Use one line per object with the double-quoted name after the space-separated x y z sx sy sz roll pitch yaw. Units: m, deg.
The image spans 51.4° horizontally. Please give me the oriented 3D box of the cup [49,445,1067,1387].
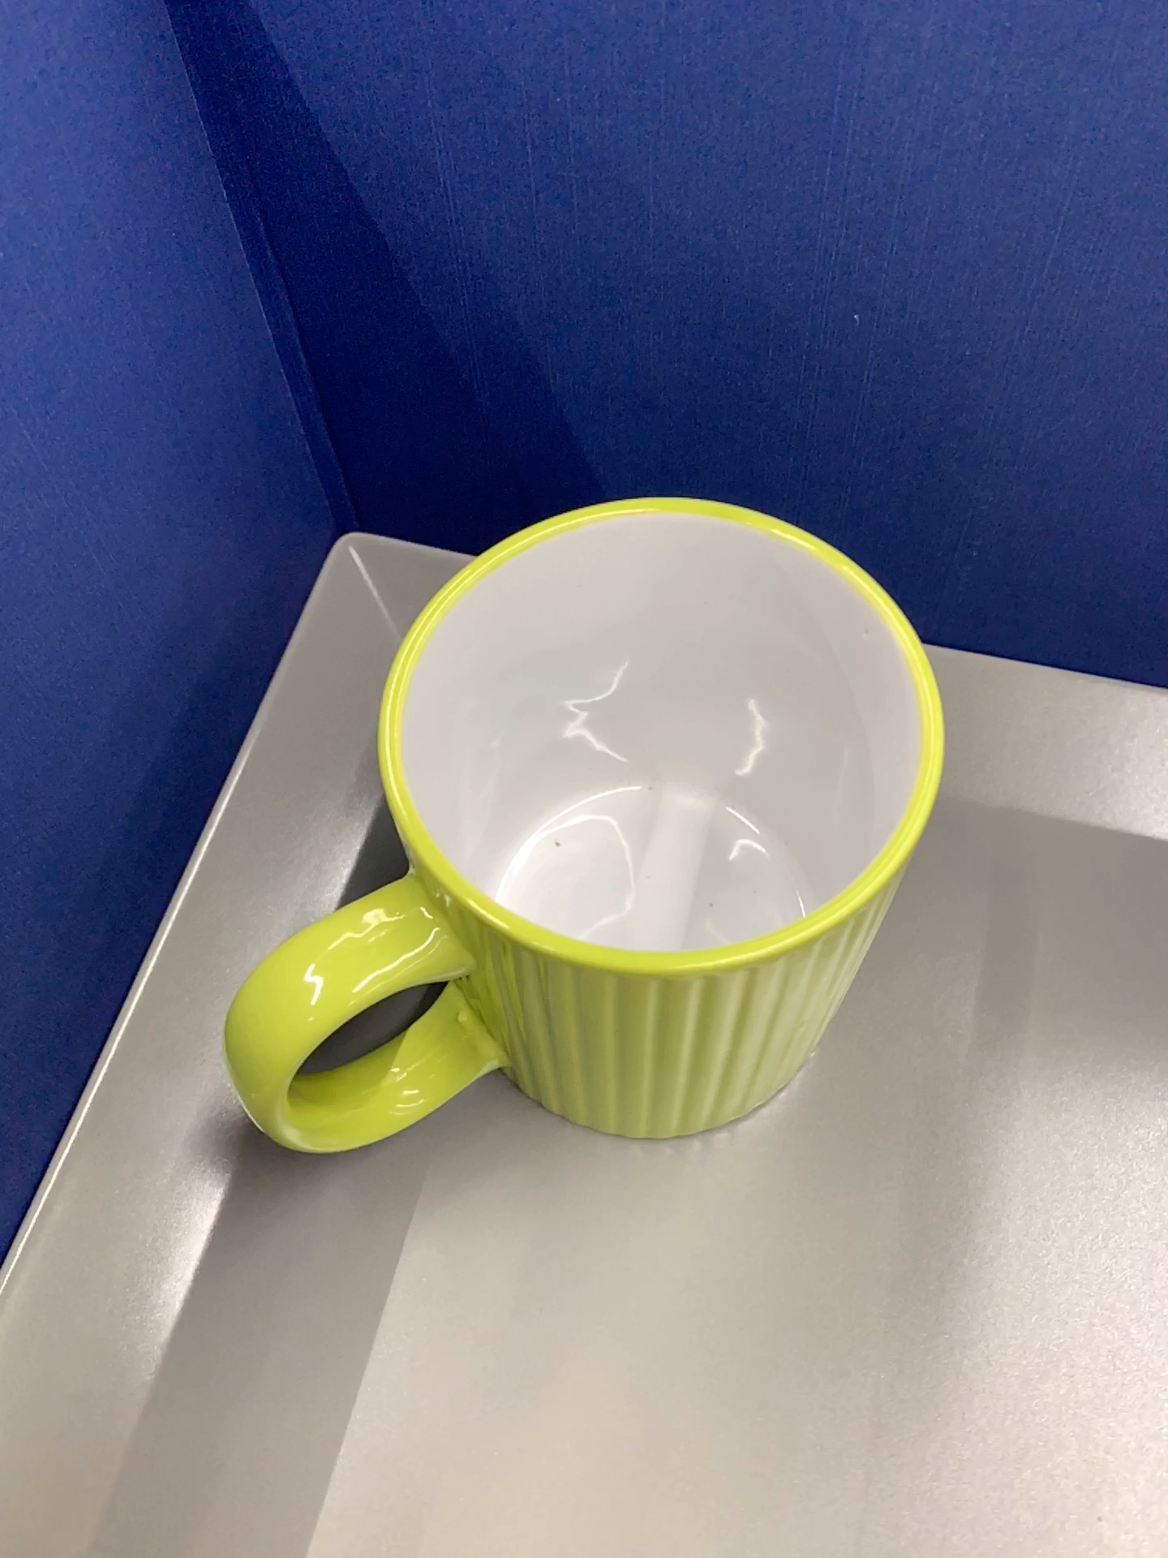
-0.003 0.027 0.229 0.129 0.098 0.091 -31 62 -15 "cup"
